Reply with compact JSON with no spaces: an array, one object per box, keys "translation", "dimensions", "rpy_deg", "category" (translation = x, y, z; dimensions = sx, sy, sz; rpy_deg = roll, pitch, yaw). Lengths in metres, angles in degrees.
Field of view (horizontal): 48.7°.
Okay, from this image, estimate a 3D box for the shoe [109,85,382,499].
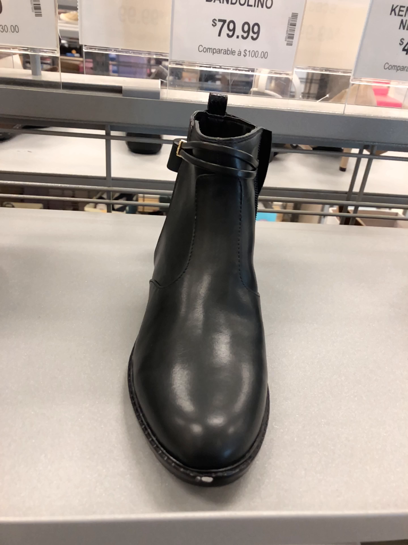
[{"translation":[0.005,-0.014,0.284],"dimensions":[0.090,0.149,0.232],"rpy_deg":[4,31,-4],"category":"shoe"}]
